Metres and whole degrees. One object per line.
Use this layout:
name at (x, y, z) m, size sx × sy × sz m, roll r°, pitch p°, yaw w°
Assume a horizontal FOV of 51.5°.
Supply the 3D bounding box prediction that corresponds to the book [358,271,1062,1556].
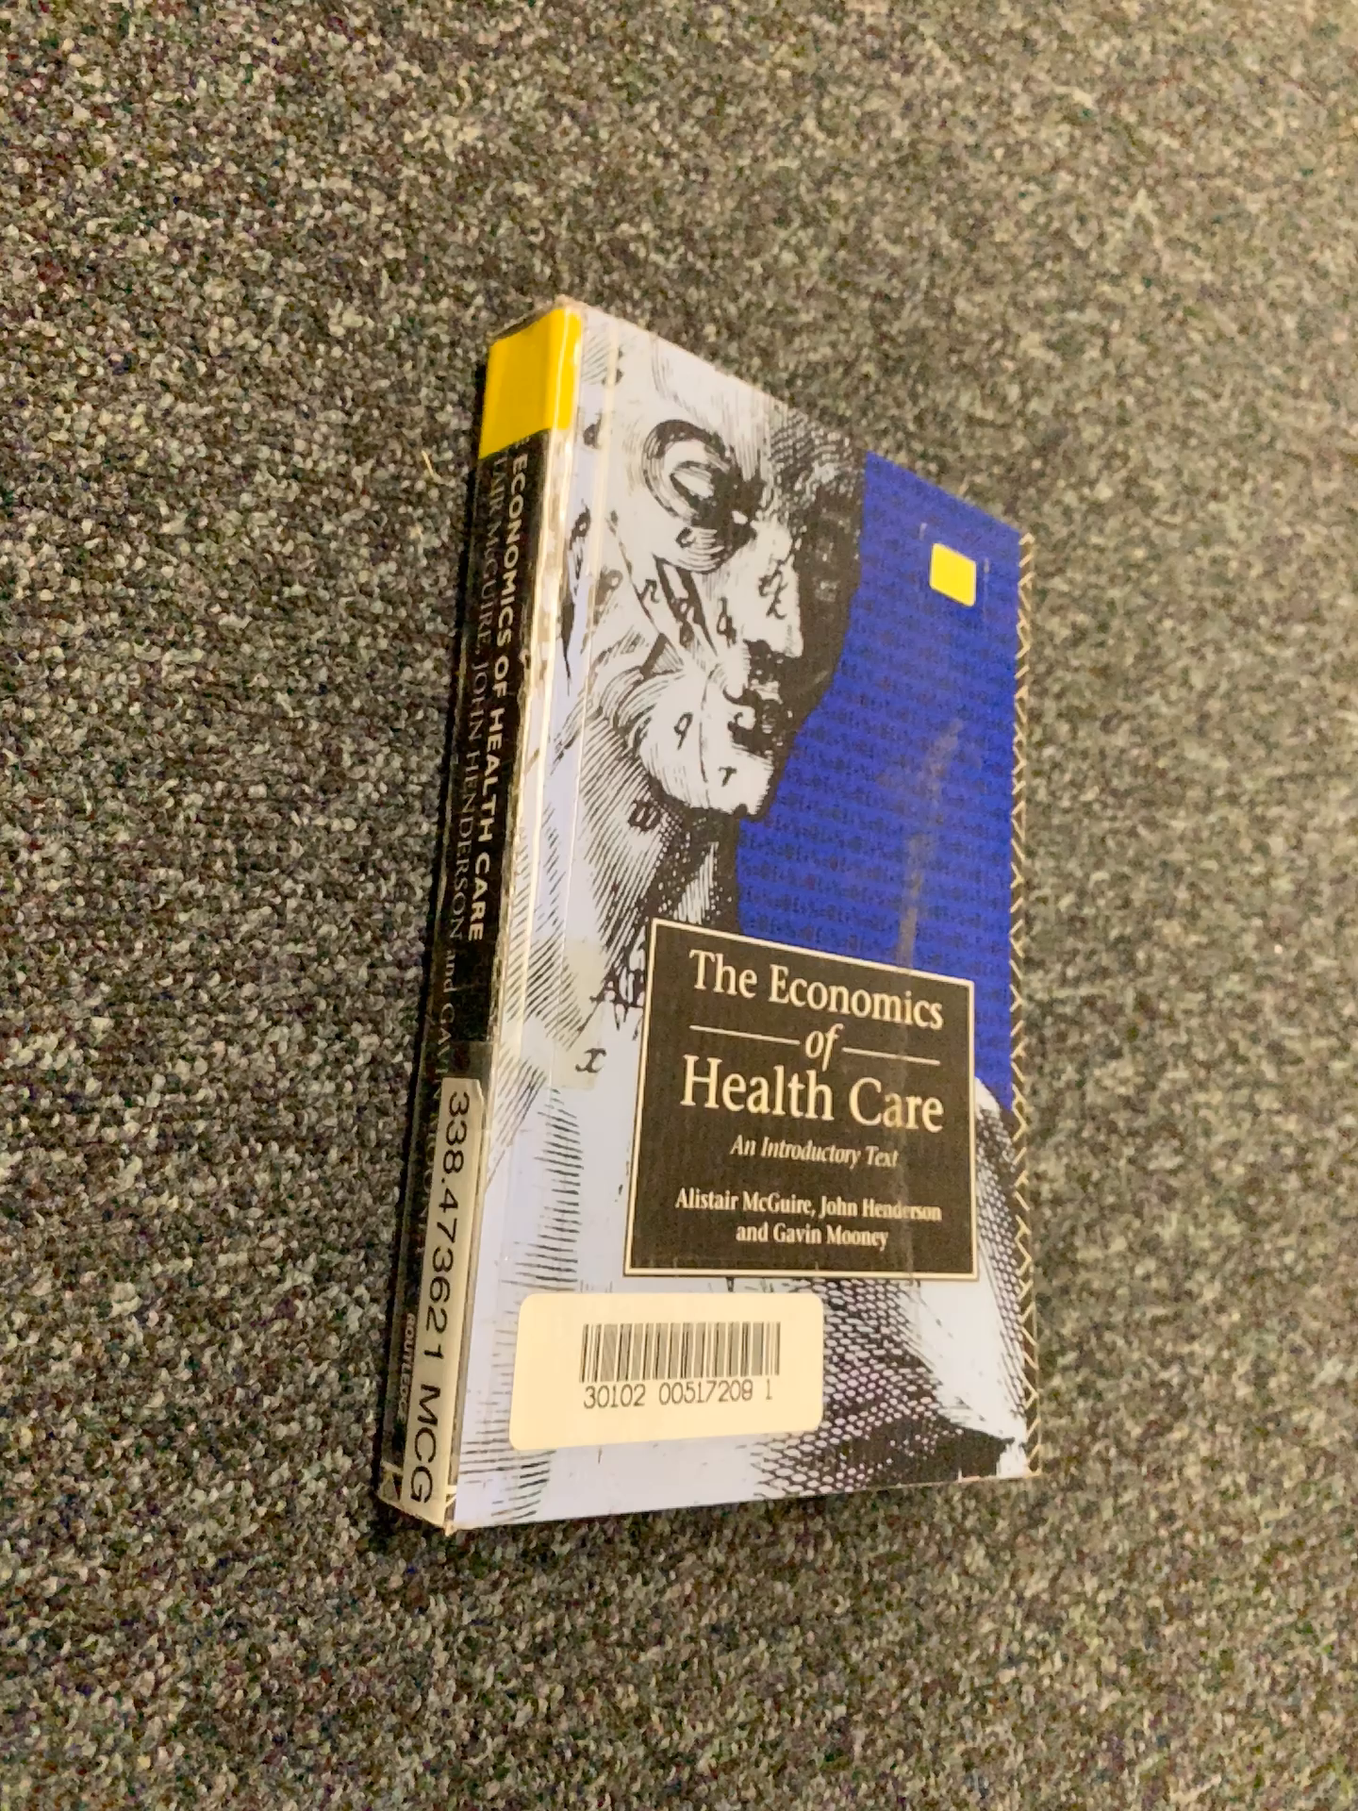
book at (0.018, 0.005, 0.275) m, size 0.136 × 0.030 × 0.207 m, roll 13°, pitch 76°, yaw -37°
